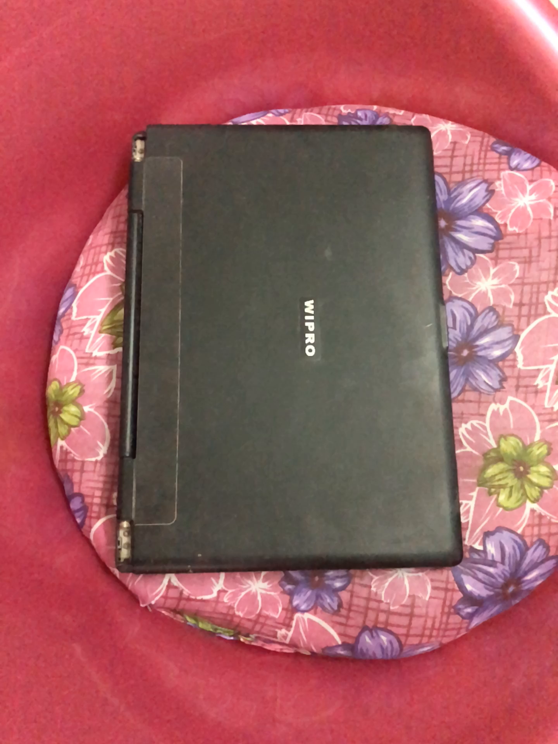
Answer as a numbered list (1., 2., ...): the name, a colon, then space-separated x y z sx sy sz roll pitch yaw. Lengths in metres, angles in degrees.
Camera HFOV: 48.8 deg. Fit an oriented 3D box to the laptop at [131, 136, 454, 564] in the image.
1. laptop: 0.008 -0.027 0.455 0.220 0.006 0.322 0 78 0
